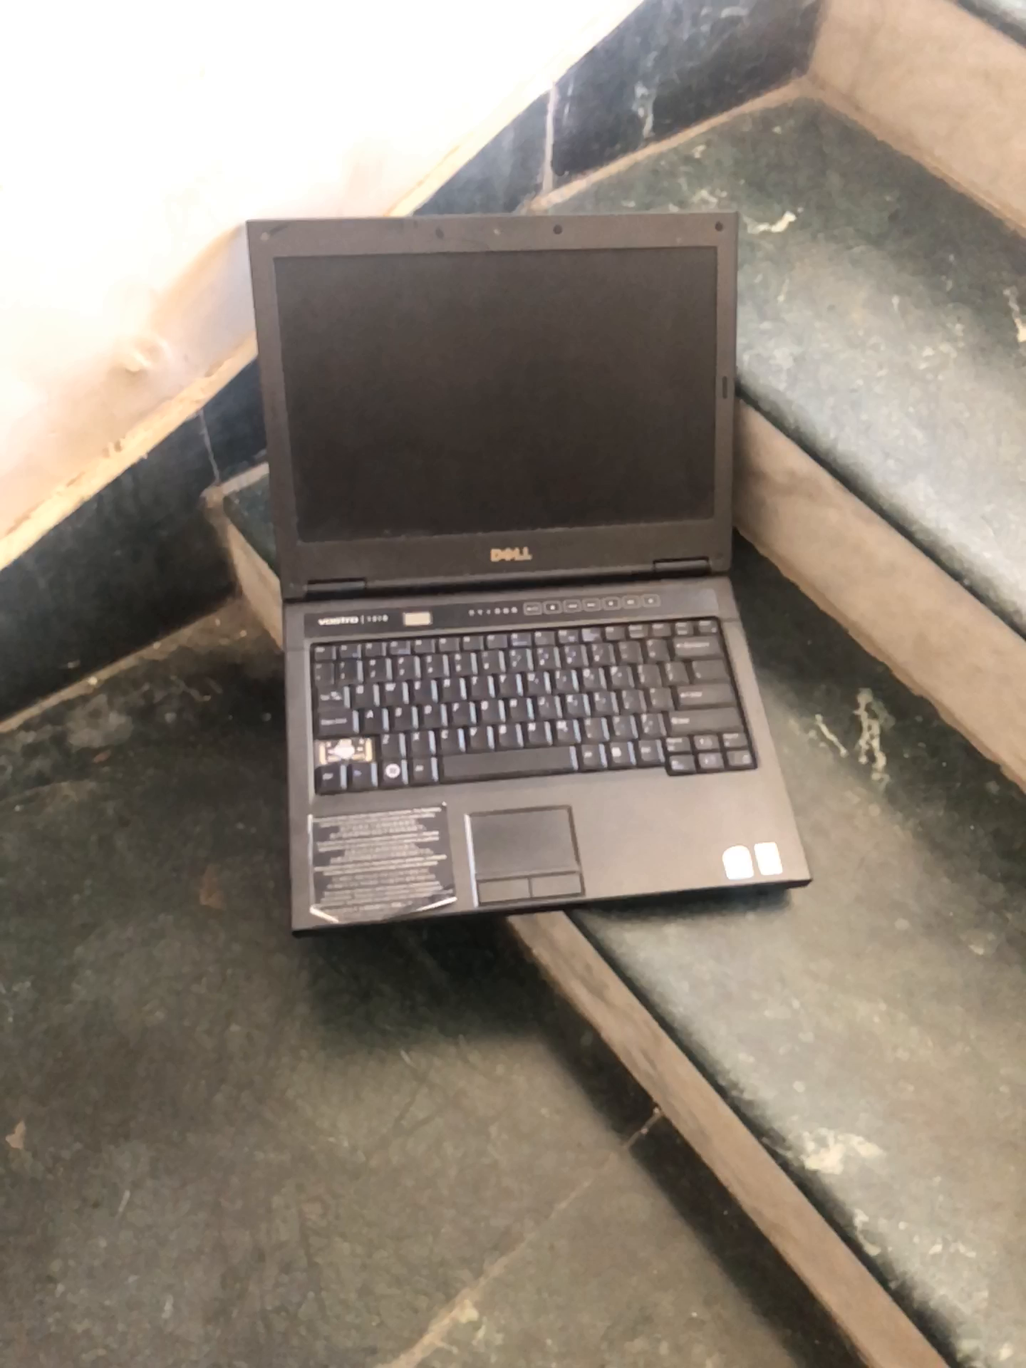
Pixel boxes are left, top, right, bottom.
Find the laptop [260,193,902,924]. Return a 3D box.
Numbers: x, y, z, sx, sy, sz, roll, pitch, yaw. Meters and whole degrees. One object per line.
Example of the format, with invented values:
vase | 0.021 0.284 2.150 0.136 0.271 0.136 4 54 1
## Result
laptop | 0.008 -0.088 0.688 0.302 0.169 0.388 -4 61 -7
